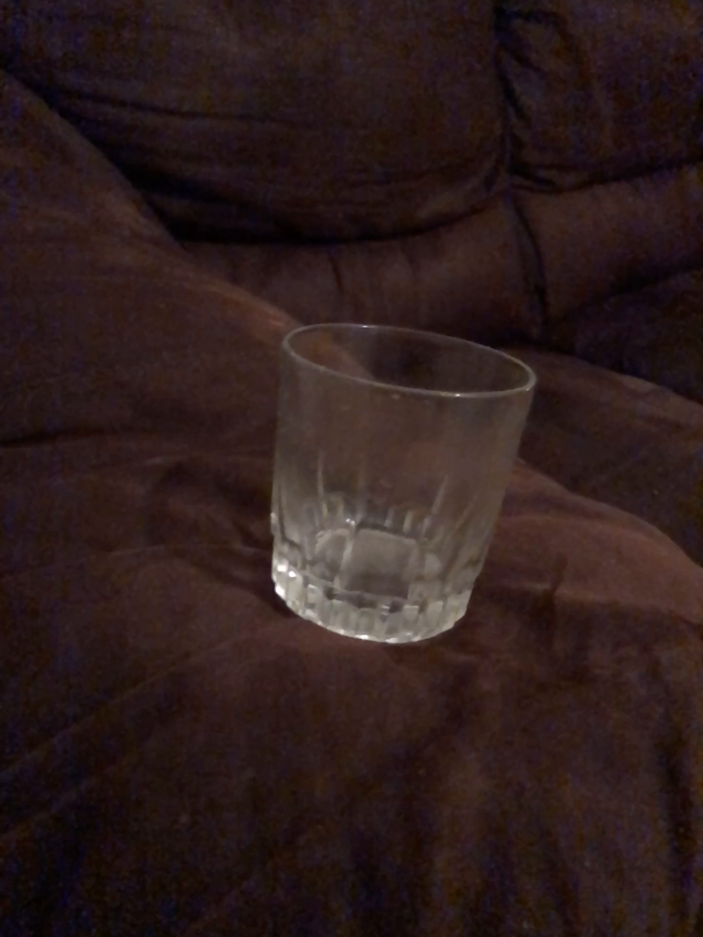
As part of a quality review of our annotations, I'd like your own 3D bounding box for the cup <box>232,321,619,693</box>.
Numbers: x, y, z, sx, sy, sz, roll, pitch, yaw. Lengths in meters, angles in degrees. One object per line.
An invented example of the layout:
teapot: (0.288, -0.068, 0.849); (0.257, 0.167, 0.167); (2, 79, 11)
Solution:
cup: (0.015, 0.004, 0.256); (0.086, 0.086, 0.087); (5, 20, -2)
